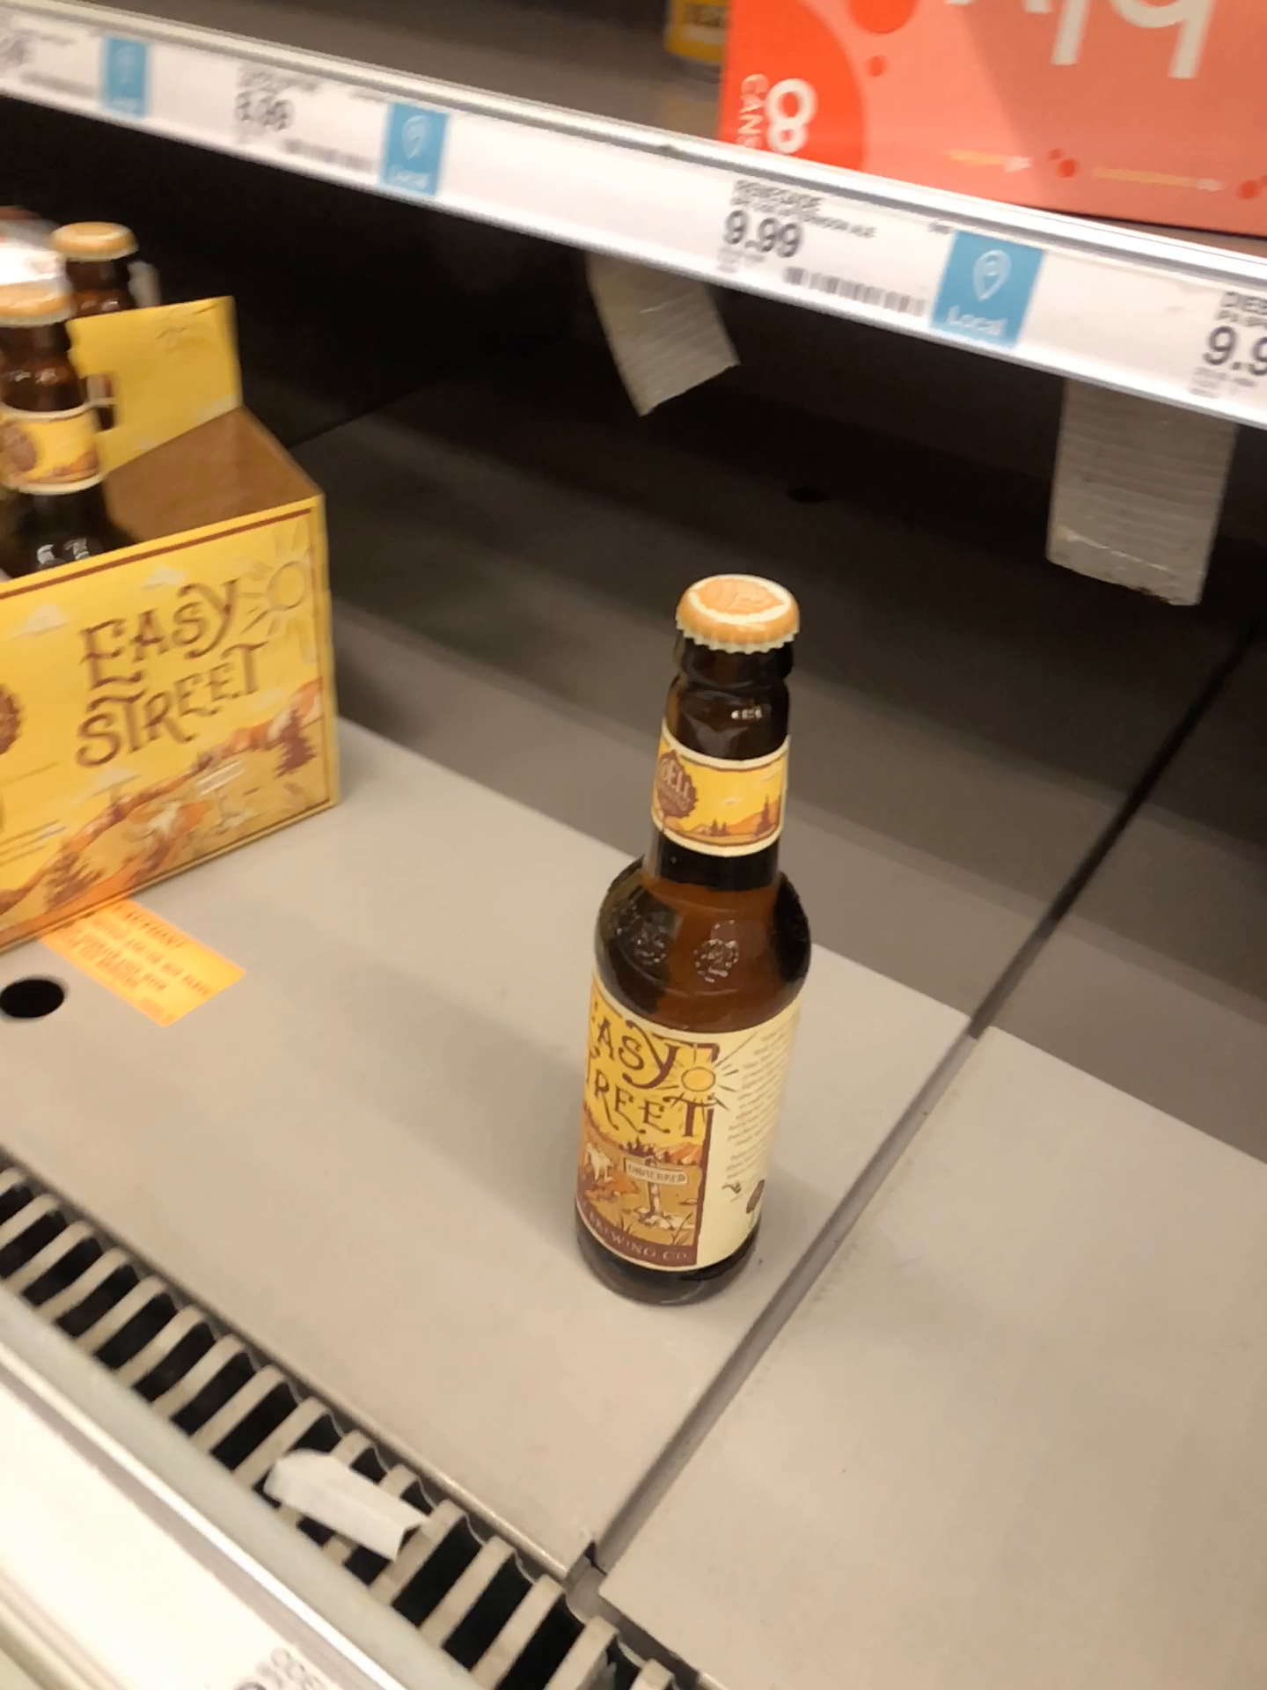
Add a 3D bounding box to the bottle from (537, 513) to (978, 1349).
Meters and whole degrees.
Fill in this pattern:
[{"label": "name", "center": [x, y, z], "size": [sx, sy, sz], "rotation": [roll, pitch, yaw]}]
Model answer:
[{"label": "bottle", "center": [0.024, 0.033, 0.394], "size": [0.070, 0.229, 0.066], "rotation": [3, 36, -2]}]
